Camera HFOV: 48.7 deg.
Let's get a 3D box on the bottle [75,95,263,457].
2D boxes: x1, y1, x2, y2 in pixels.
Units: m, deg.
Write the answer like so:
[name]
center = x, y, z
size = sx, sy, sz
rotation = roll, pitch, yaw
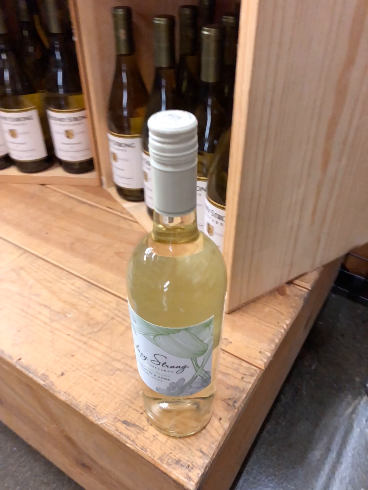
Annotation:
[bottle]
center = -0.007, 0.045, 0.316
size = 0.073, 0.283, 0.079
rotation = 0, 38, 0
